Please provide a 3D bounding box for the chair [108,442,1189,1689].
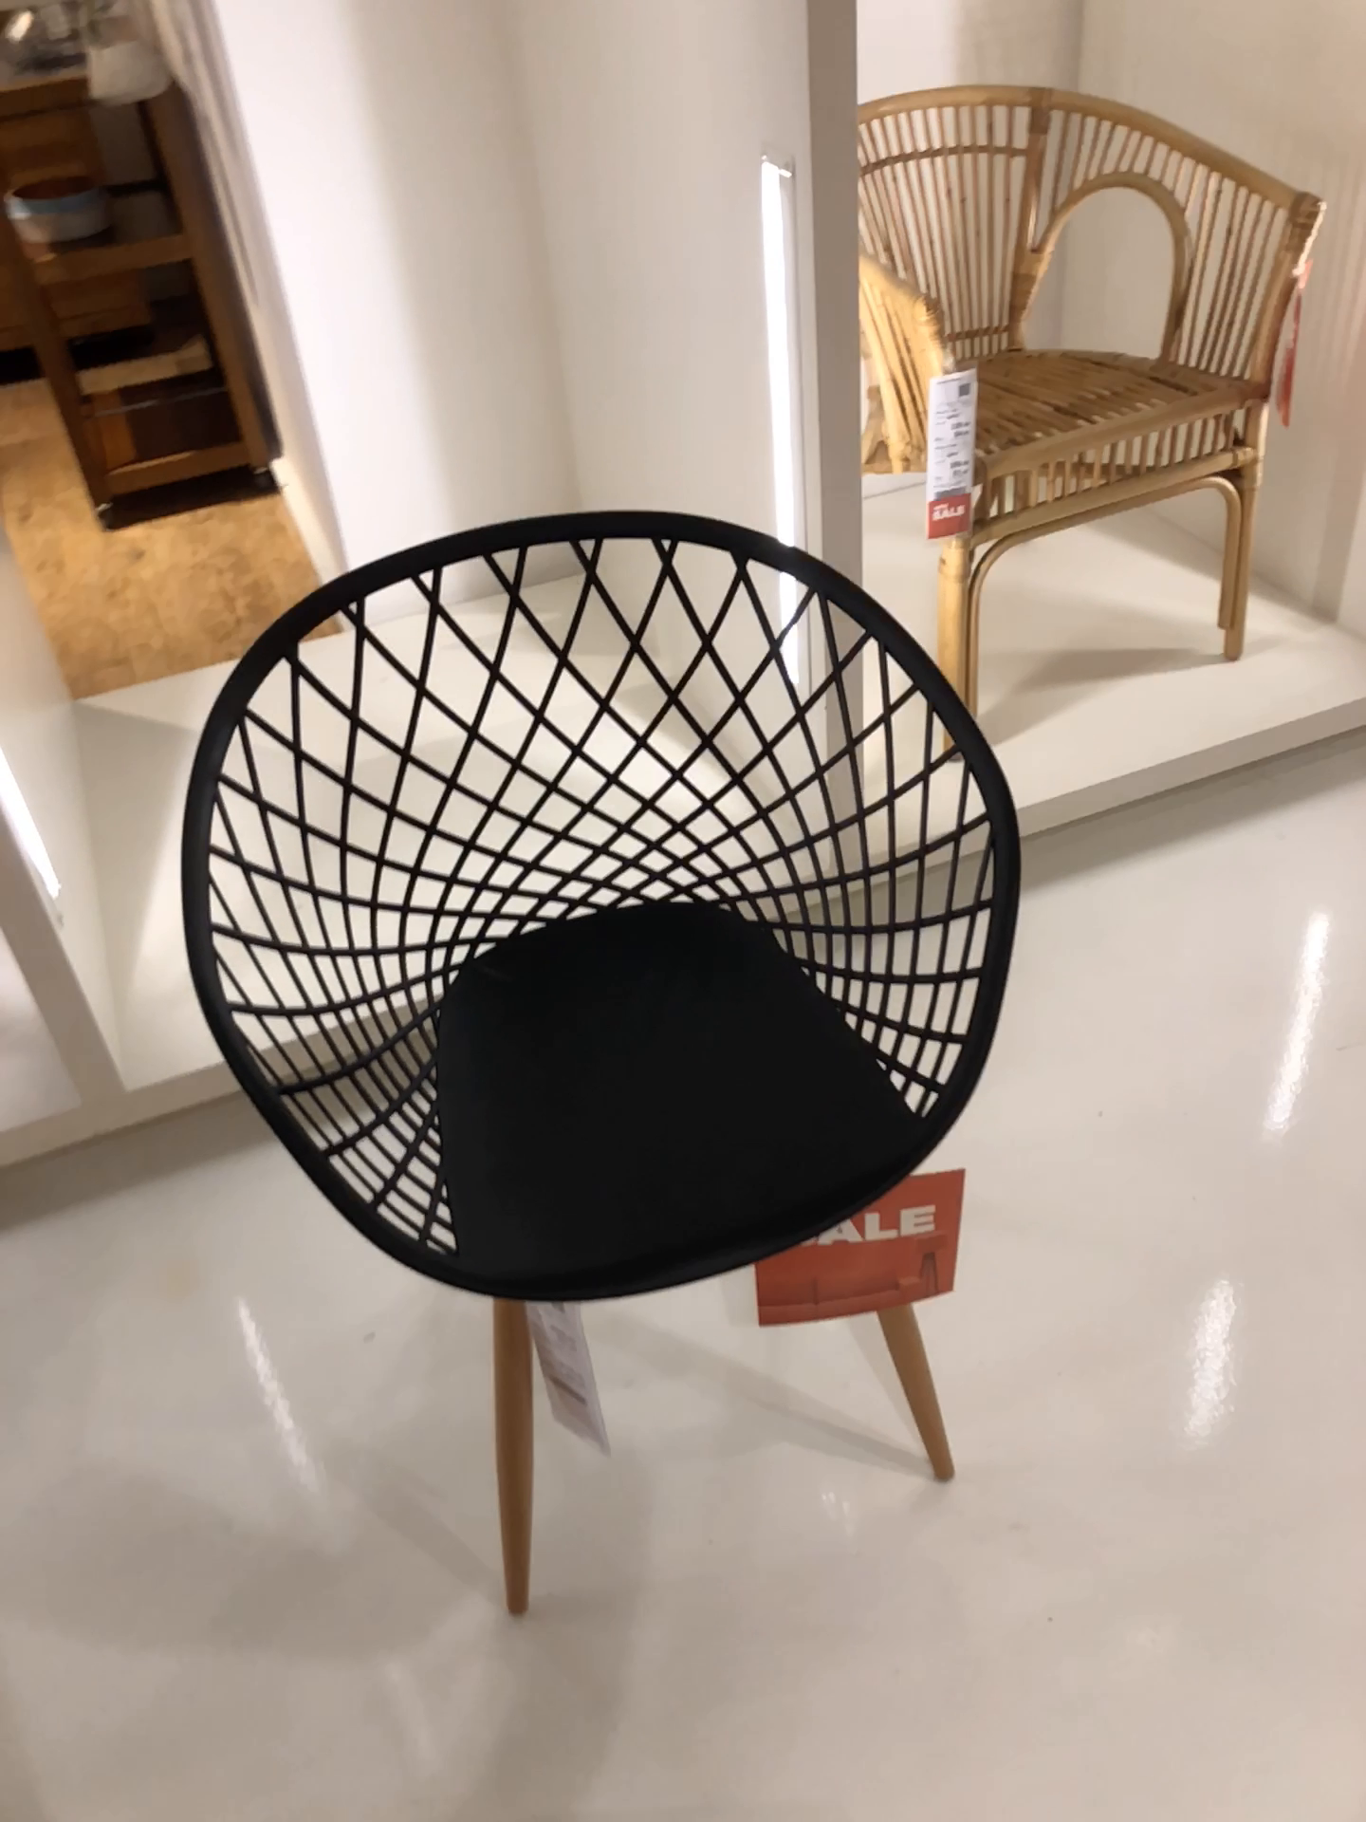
[{"bbox_3d":[-0.050,0.105,1.276,0.620,0.704,0.604,-14,39,-9],"label":"chair"}]
